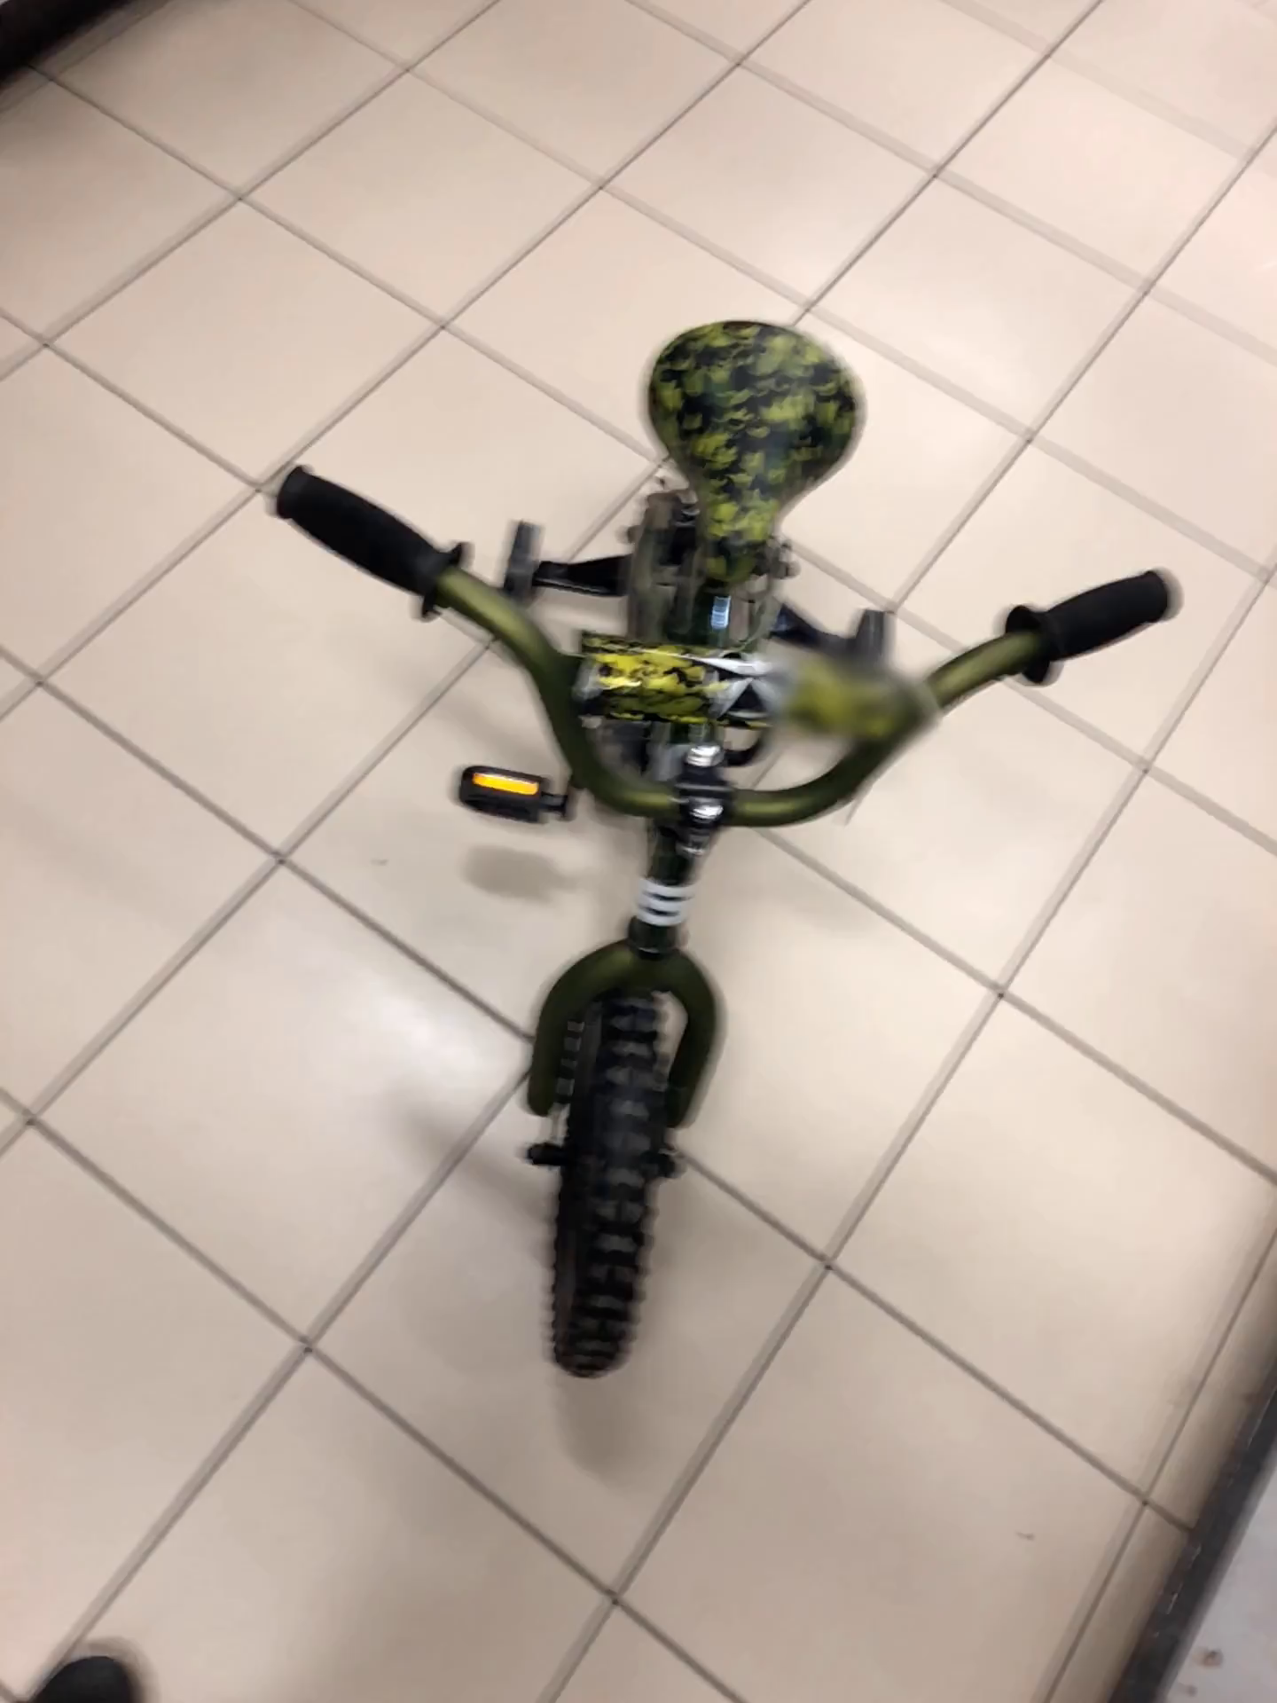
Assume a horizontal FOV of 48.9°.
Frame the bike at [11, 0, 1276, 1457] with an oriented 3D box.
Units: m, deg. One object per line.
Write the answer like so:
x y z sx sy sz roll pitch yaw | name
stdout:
0.056 -0.076 0.968 0.532 0.558 0.818 9 62 -2 | bike
